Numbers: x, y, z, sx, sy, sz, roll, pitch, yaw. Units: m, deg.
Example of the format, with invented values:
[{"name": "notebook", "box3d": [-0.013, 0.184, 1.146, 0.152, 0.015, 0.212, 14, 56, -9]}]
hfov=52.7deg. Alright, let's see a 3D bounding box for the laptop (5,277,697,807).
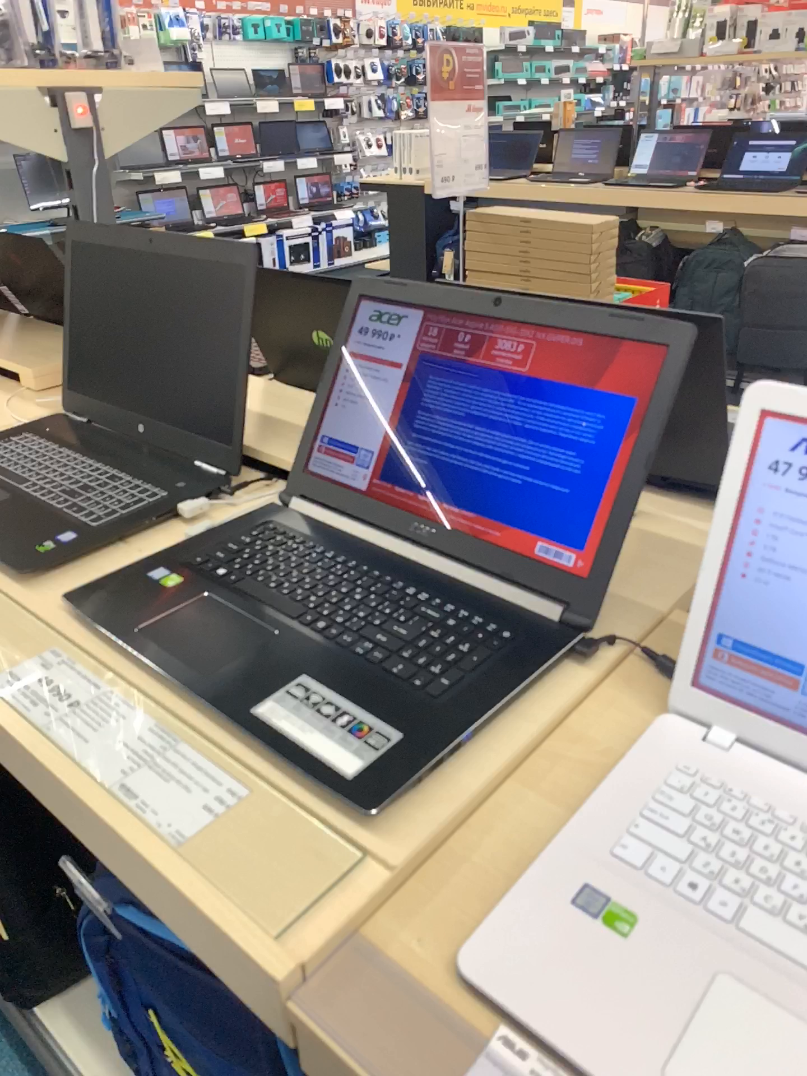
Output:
[{"name": "laptop", "box3d": [-0.039, -0.064, 0.758, 0.421, 0.235, 0.421, 22, 36, 38]}]
